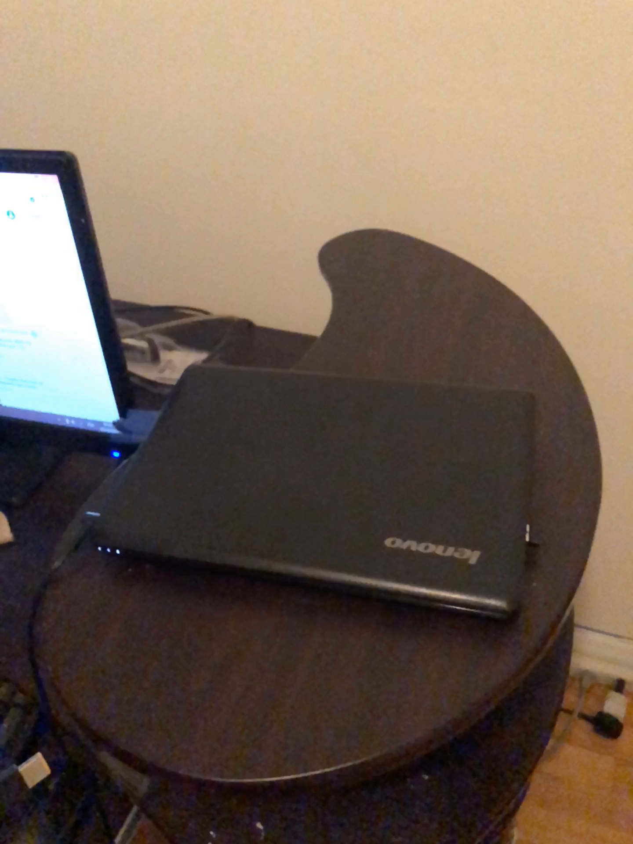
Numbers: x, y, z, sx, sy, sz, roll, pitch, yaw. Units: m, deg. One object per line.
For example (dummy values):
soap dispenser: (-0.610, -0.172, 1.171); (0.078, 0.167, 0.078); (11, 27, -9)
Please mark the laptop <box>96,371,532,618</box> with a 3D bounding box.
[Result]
laptop: (0.004, 0.032, 0.470); (0.259, 0.008, 0.173); (5, 45, 18)
